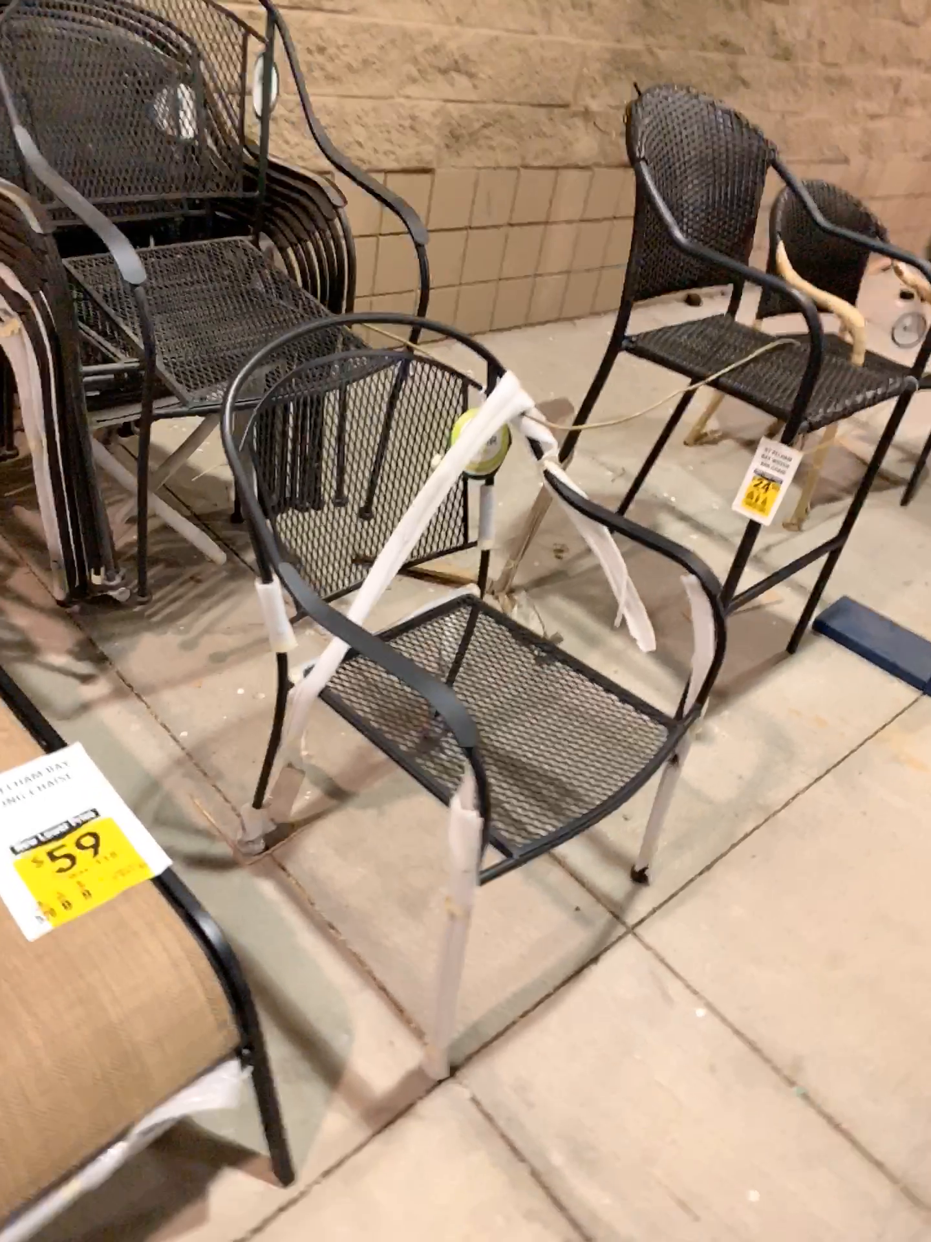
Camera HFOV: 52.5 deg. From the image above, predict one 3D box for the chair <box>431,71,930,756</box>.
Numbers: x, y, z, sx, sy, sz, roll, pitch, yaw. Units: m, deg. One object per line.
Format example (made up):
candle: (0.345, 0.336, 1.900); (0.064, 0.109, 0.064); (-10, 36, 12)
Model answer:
chair: (0.467, -0.453, 2.028); (0.636, 1.128, 0.710); (-24, 48, -39)

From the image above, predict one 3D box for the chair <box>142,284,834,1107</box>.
chair: (-0.024, 0.070, 1.408); (0.639, 0.869, 0.576); (33, 41, 29)

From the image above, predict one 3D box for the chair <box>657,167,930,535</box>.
chair: (1.121, -0.810, 2.805); (0.645, 0.820, 0.630); (-12, 41, -28)
